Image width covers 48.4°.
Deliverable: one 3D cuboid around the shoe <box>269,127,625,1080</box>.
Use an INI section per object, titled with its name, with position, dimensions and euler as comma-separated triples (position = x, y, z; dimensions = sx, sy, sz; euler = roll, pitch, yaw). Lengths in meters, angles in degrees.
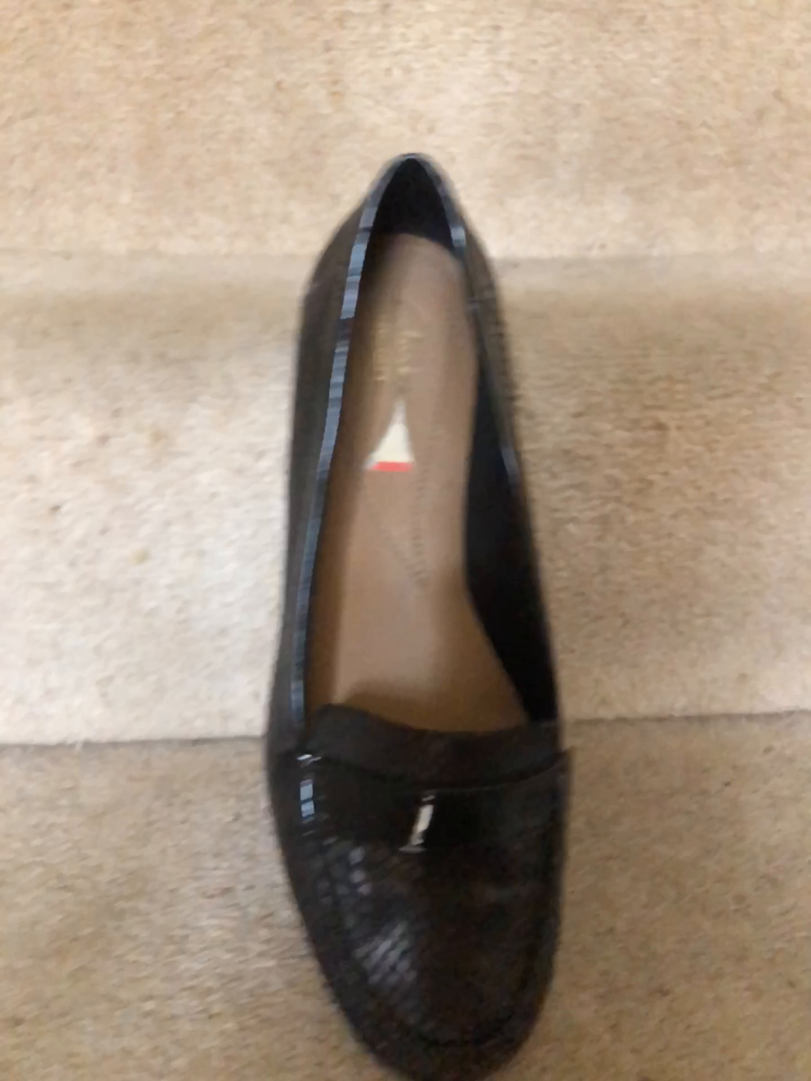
[shoe]
position = 0.006, 0.020, 0.277
dimensions = 0.090, 0.260, 0.070
euler = 0, -5, -10
